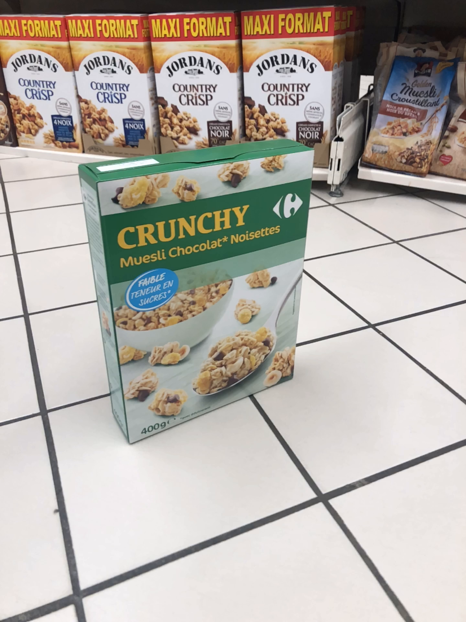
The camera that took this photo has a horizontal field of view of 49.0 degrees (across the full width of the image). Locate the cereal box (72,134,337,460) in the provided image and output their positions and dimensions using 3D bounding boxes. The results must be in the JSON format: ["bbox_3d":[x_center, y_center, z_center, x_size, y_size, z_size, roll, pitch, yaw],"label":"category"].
[{"bbox_3d":[-0.017,-0.014,0.460,0.201,0.248,0.060,-17,35,-27],"label":"cereal box"}]
